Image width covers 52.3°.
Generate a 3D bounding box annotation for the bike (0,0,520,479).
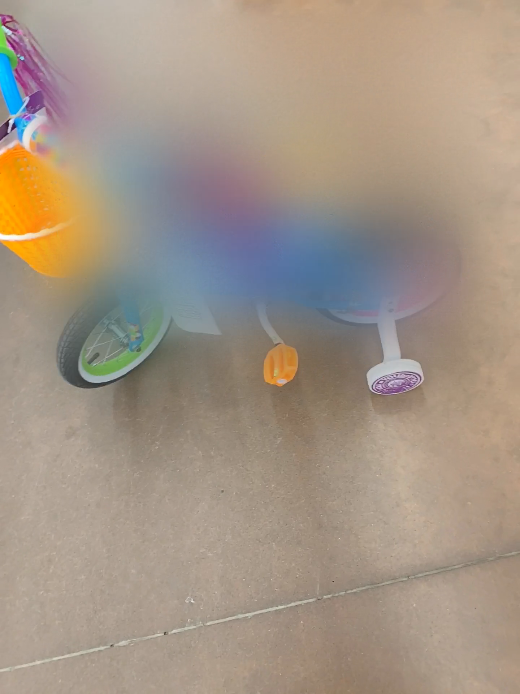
[{"bbox_3d":[-0.075,-0.226,0.935,0.815,0.664,0.554,-17,57,3],"label":"bike"}]
